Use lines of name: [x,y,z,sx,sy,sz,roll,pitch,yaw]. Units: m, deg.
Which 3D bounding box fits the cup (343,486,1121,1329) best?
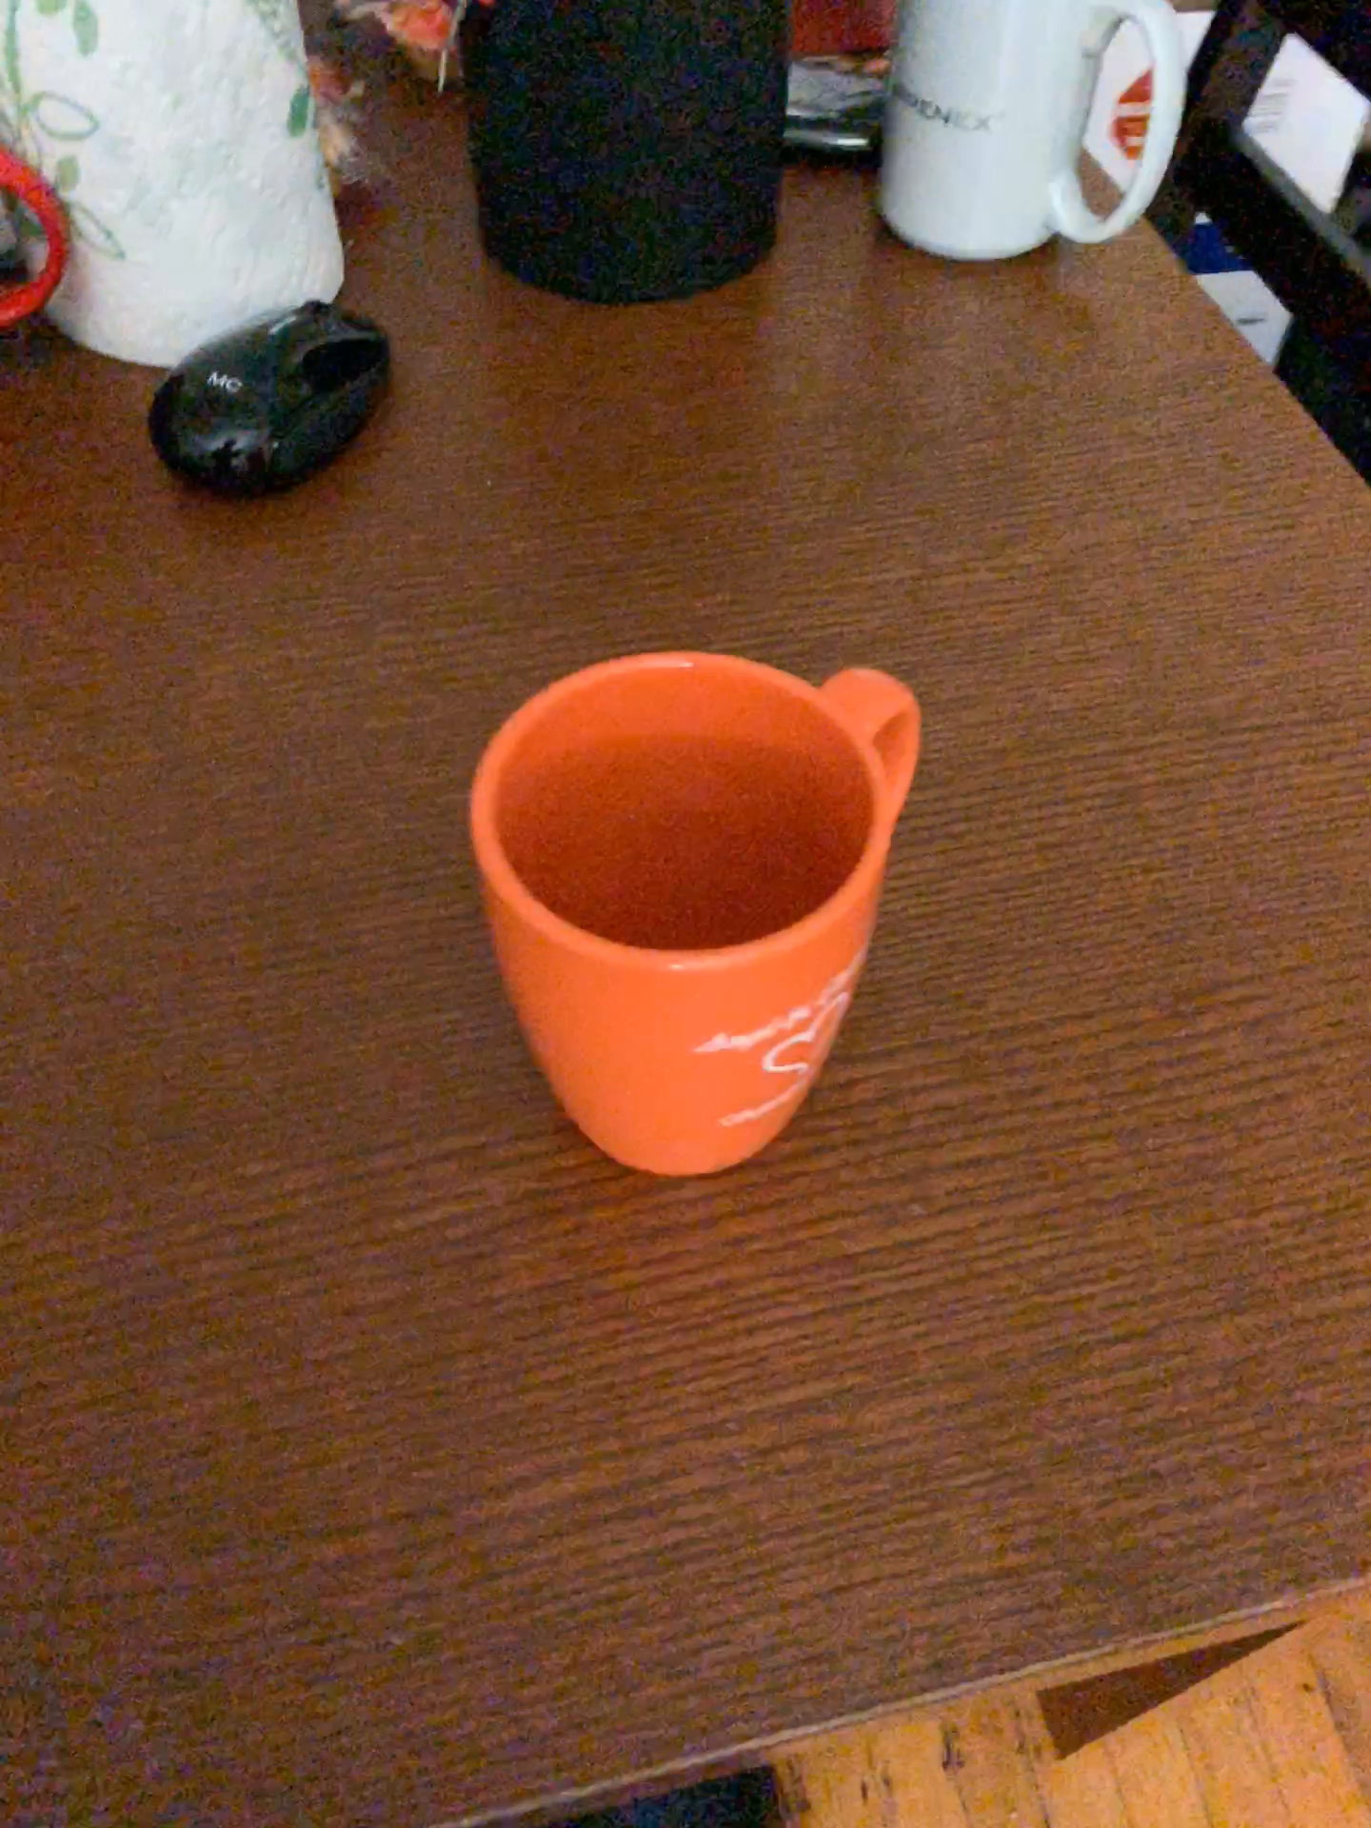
cup: [0.012,-0.003,0.330,0.100,0.110,0.130,32,59,21]
